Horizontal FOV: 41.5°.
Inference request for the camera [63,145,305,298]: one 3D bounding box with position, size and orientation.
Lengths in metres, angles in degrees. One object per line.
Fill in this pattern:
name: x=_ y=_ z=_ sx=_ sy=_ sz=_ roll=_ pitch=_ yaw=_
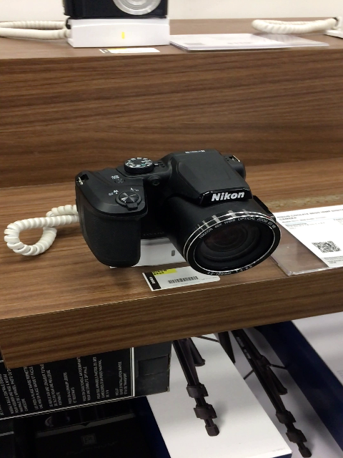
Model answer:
camera: x=0.002 y=-0.011 z=0.329 sx=0.134 sy=0.063 sz=0.098 roll=-9 pitch=33 yaw=-15
